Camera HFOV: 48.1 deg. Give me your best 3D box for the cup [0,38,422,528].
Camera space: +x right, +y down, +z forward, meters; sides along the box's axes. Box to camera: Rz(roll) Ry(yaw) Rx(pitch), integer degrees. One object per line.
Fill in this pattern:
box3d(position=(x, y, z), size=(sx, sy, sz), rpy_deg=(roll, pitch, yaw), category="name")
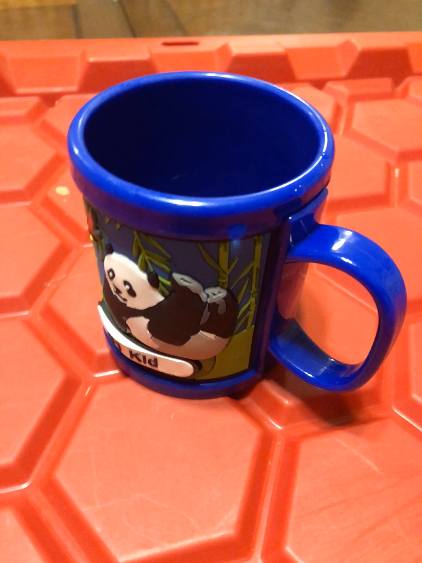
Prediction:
box3d(position=(0.008, -0.006, 0.170), size=(0.120, 0.099, 0.090), rpy_deg=(33, 54, 25), category="cup")
